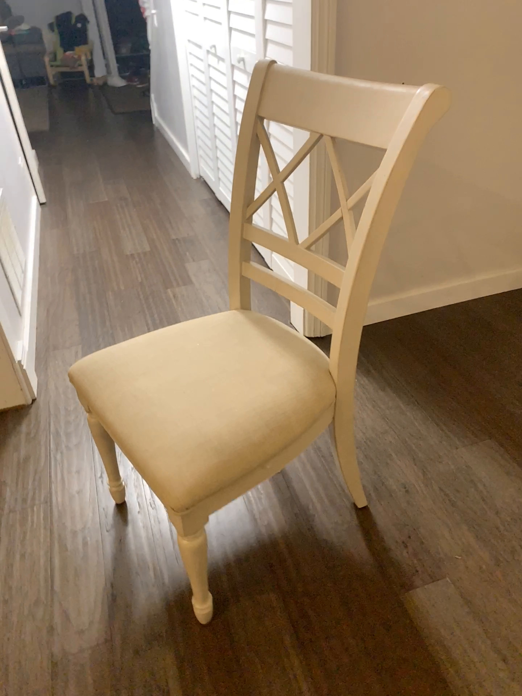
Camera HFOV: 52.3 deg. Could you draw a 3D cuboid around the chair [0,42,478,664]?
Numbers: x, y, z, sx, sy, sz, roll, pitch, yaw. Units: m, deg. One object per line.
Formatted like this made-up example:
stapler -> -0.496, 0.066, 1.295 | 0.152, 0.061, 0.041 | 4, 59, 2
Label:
chair -> -0.078, -0.014, 1.115 | 0.611, 0.994, 0.583 | -27, 42, -29
